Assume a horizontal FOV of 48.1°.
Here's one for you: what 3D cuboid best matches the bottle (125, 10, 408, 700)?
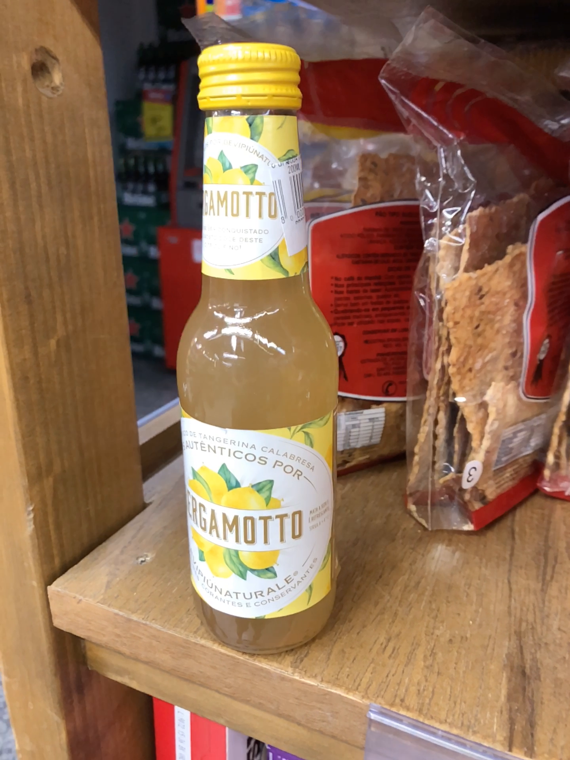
[{"bbox_3d":[-0.003,-0.003,0.213,0.060,0.199,0.060,0,19,0],"label":"bottle"}]
